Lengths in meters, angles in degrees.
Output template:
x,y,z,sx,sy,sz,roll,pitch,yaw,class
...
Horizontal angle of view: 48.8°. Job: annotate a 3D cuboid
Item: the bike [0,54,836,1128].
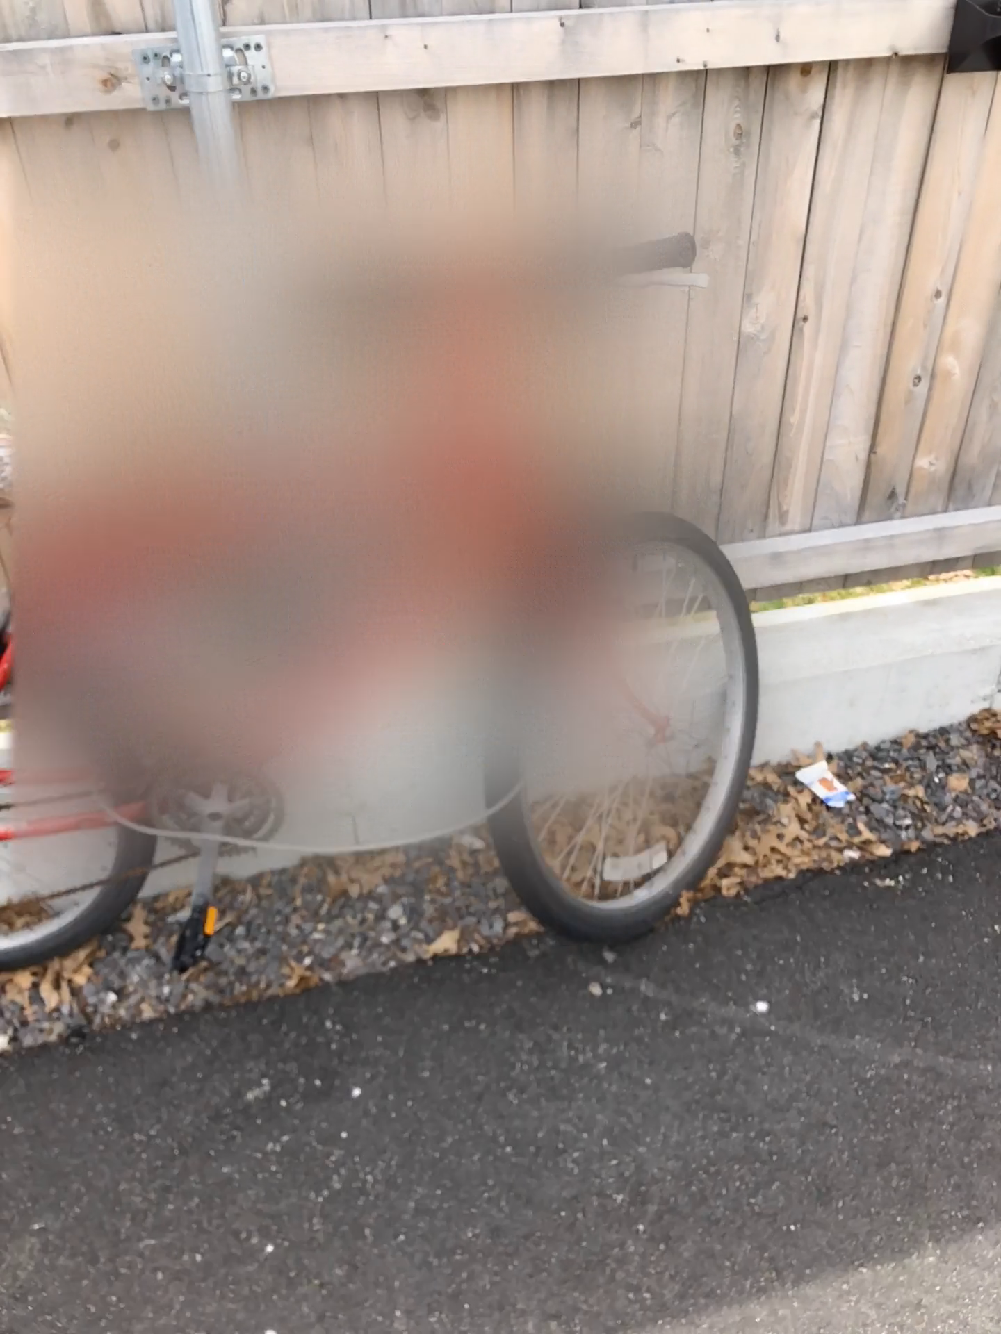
x,y,z,sx,sy,sz,roll,pitch,yaw,class
-0.384,-0.139,1.532,1.475,1.001,0.596,-11,36,-8,bike
